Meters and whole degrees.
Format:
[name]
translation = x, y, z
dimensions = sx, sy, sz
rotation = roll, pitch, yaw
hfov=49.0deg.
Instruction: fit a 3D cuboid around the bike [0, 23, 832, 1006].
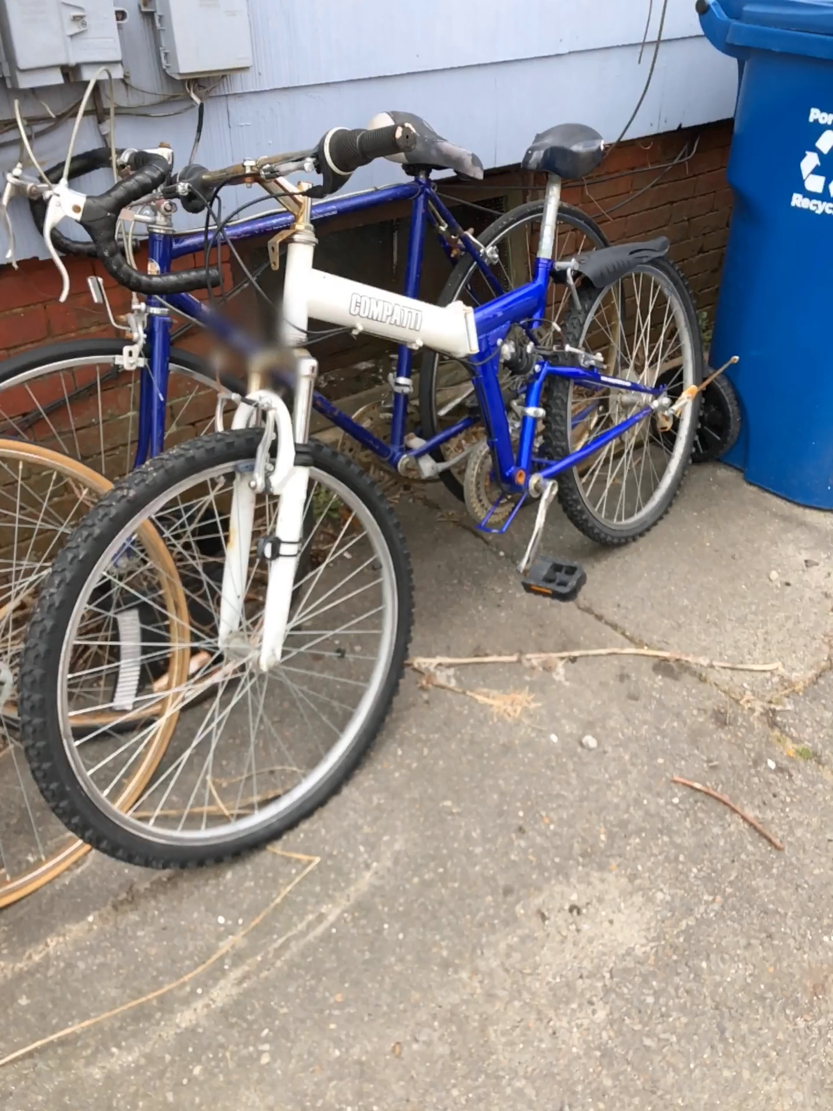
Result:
[bike]
translation = 0.022, -0.274, 1.704
dimensions = 0.563, 0.978, 1.735
rotation = 27, 46, 33
